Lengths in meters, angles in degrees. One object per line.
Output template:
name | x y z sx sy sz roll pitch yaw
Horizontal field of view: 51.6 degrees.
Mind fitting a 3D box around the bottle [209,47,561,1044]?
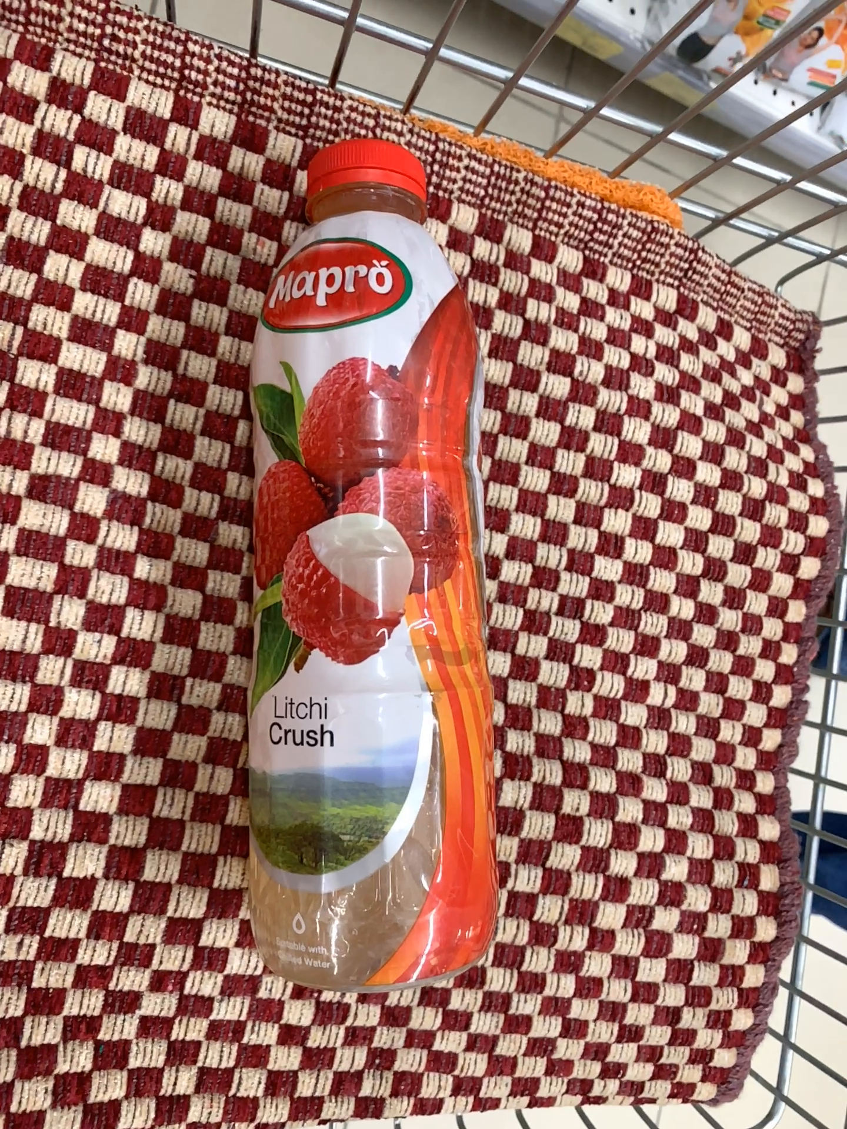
bottle | -0.007 -0.005 0.262 0.080 0.070 0.240 4 86 -62
